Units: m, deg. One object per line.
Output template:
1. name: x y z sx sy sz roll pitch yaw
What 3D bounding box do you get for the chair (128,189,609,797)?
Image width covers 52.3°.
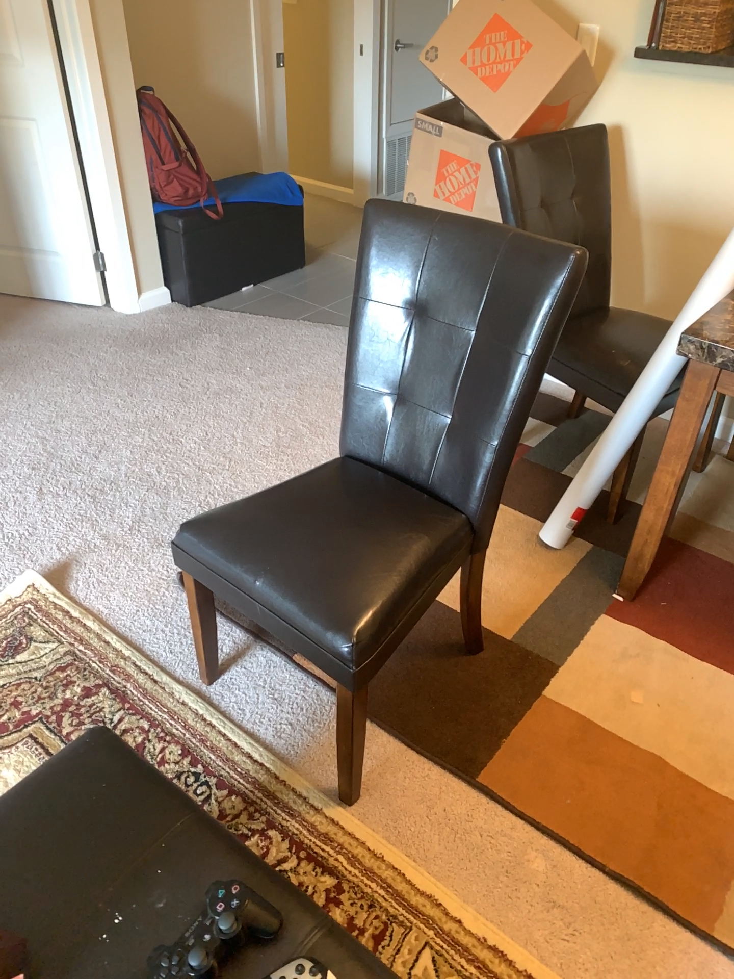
1. chair: 0.018 -0.019 1.501 0.492 0.915 0.651 27 43 32
